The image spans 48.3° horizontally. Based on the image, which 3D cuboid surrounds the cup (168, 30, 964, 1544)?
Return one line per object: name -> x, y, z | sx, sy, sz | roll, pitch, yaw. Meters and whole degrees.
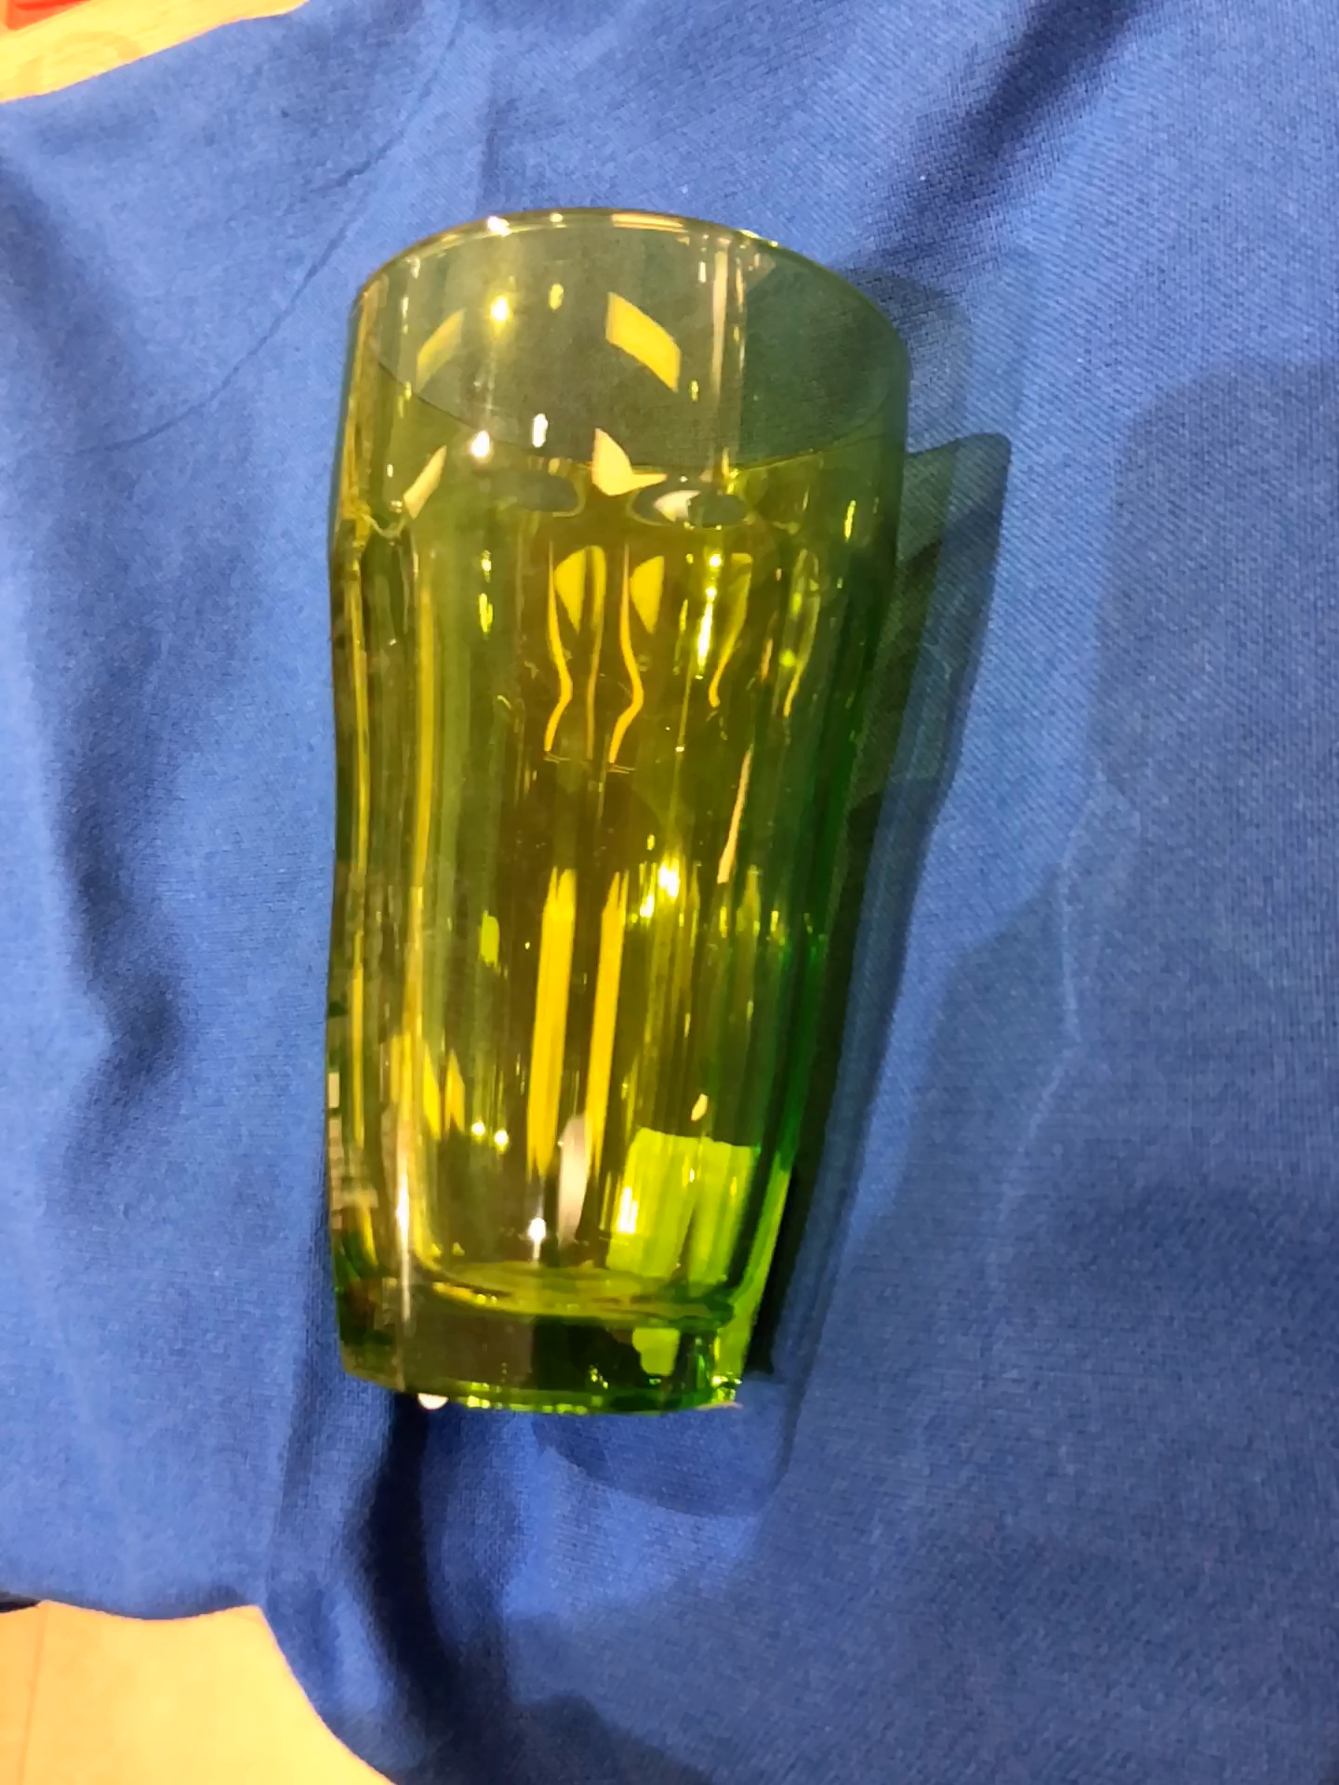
cup -> -0.006, -0.010, 0.200 | 0.070, 0.070, 0.160 | -3, 78, 28
